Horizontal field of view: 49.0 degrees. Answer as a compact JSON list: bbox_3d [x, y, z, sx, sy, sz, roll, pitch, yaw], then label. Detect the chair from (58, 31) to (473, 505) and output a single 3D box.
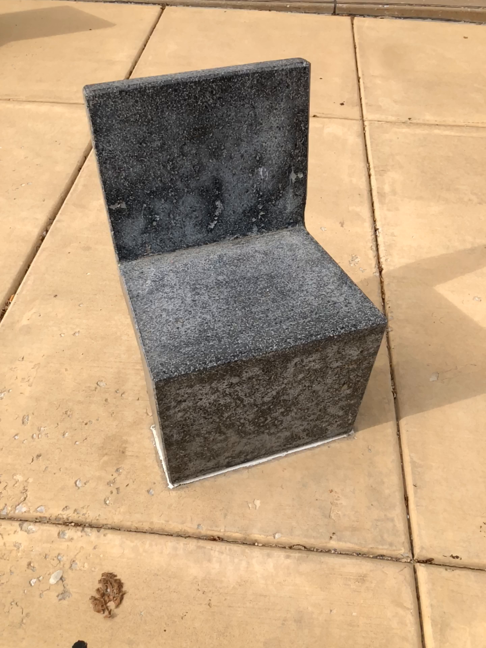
[{"bbox_3d":[-0.013,-0.138,1.201,0.570,0.798,0.561,-12,41,-16],"label":"chair"}]
